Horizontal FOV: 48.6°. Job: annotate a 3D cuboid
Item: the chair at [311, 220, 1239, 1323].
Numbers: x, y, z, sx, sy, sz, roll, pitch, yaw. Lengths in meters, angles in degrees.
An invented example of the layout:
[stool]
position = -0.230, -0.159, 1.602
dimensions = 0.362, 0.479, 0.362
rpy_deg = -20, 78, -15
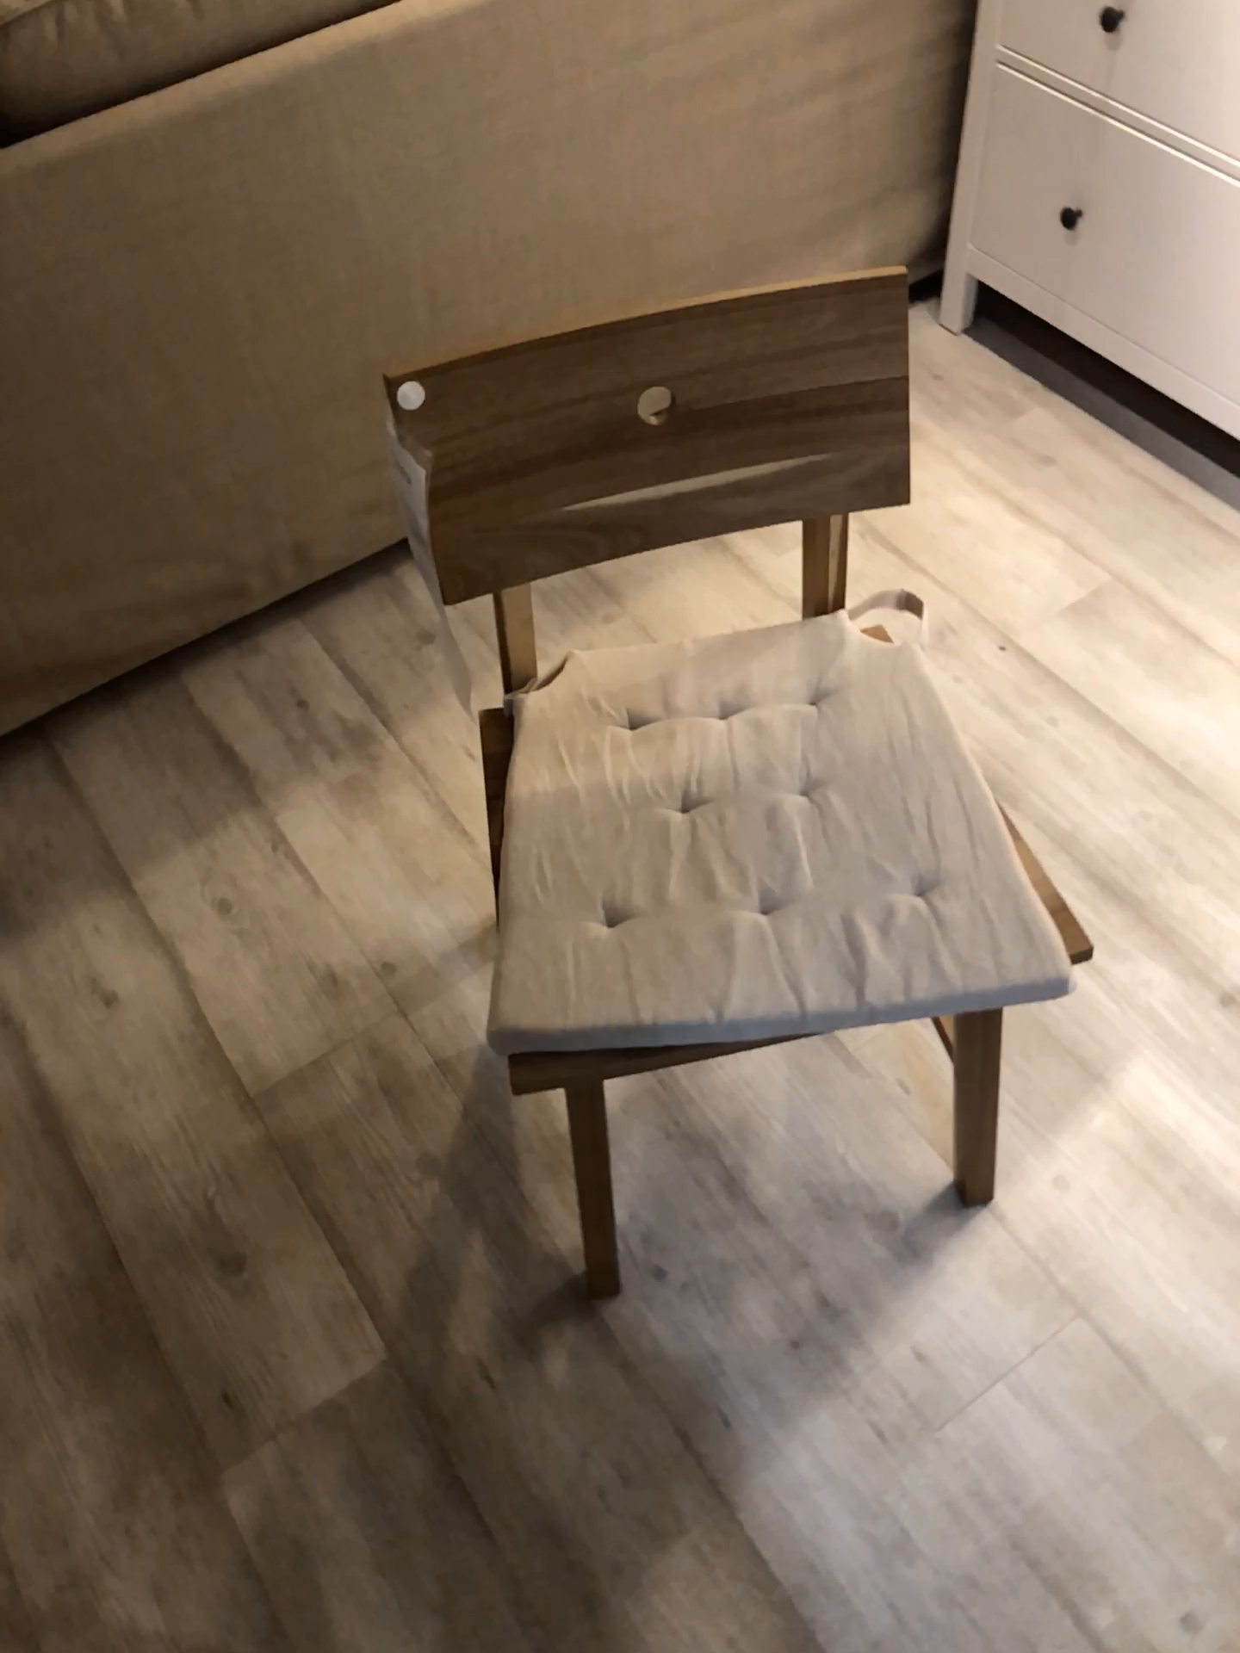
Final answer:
[chair]
position = 0.099, -0.020, 1.098
dimensions = 0.500, 0.599, 0.531
rpy_deg = -13, 53, -5
